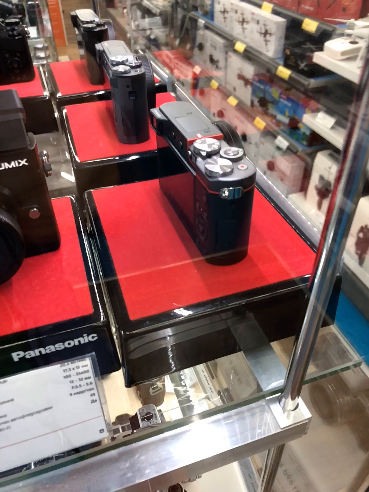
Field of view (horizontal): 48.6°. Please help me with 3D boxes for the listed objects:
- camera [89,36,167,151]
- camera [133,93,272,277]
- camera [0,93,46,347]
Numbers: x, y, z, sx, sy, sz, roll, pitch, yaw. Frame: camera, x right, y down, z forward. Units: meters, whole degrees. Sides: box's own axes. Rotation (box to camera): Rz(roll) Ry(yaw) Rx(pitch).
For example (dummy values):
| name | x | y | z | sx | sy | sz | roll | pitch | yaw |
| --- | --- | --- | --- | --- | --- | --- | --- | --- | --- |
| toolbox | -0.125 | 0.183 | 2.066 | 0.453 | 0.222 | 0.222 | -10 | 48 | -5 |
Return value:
| name | x | y | z | sx | sy | sz | roll | pitch | yaw |
| --- | --- | --- | --- | --- | --- | --- | --- | --- | --- |
| camera | -0.057 | -0.154 | 0.403 | 0.051 | 0.070 | 0.113 | -11 | 40 | -12 |
| camera | 0.005 | -0.047 | 0.275 | 0.050 | 0.070 | 0.113 | -12 | 41 | -14 |
| camera | -0.151 | -0.017 | 0.231 | 0.113 | 0.101 | 0.069 | -13 | 41 | -15 |
